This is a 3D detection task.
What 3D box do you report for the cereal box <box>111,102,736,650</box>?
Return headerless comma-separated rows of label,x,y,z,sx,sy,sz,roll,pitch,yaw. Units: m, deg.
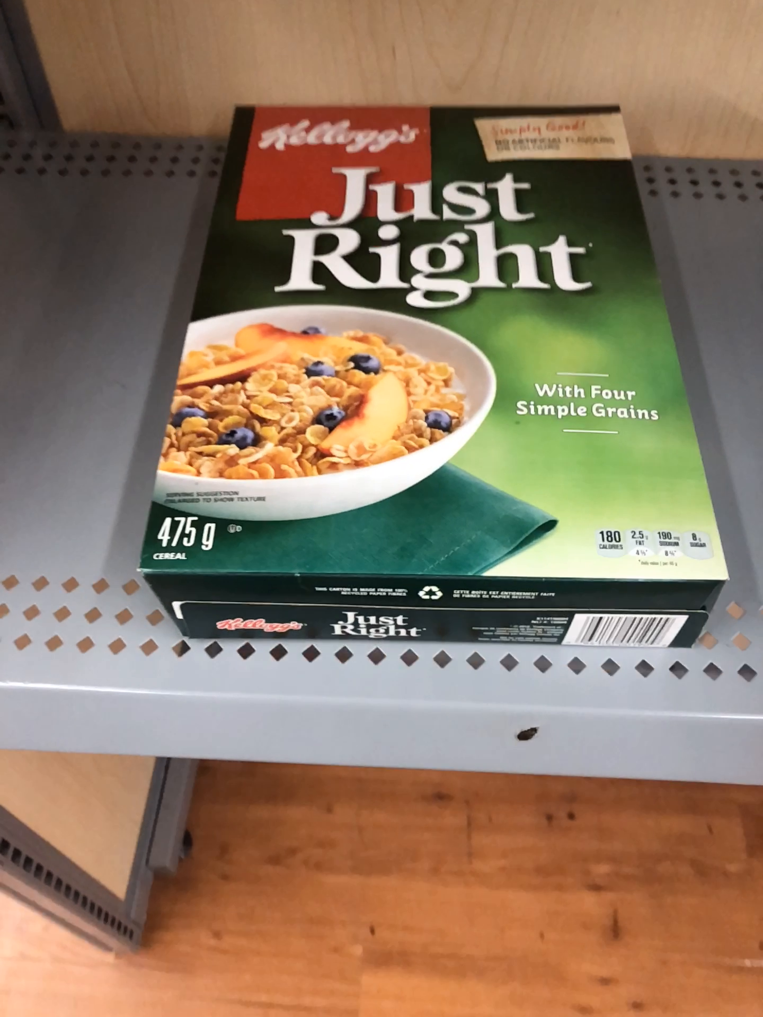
cereal box,0.016,-0.076,0.372,0.200,0.060,0.272,1,55,1
